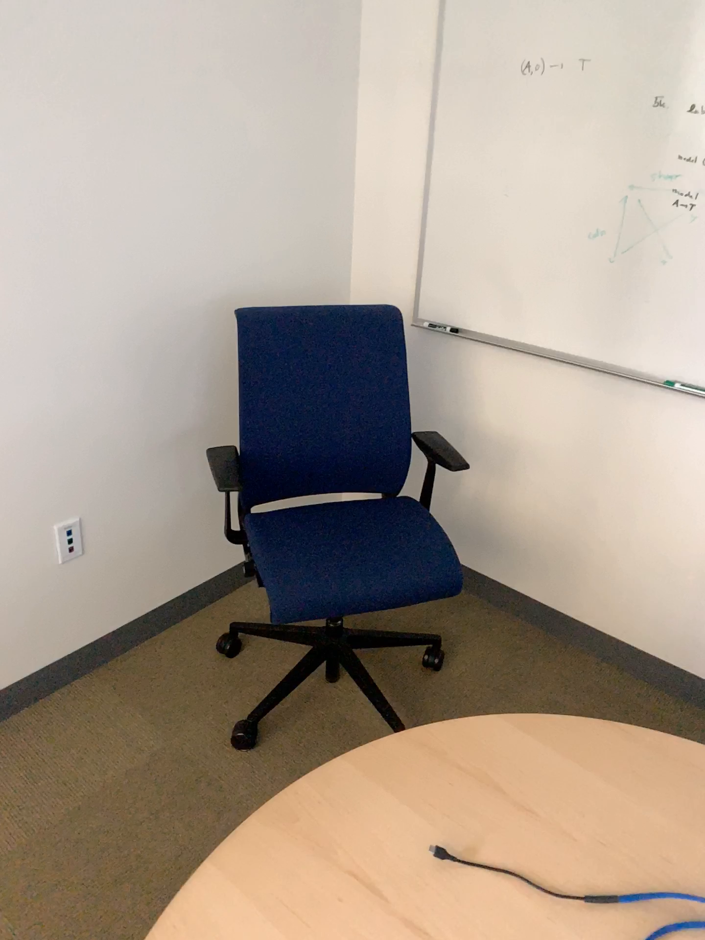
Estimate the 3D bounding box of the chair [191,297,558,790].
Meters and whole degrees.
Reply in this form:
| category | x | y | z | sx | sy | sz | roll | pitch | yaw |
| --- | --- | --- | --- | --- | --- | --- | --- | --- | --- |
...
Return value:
| category | x | y | z | sx | sy | sz | roll | pitch | yaw |
| --- | --- | --- | --- | --- | --- | --- | --- | --- | --- |
| chair | -0.050 | 0.112 | 2.092 | 0.740 | 0.994 | 0.986 | -4 | 26 | -12 |
